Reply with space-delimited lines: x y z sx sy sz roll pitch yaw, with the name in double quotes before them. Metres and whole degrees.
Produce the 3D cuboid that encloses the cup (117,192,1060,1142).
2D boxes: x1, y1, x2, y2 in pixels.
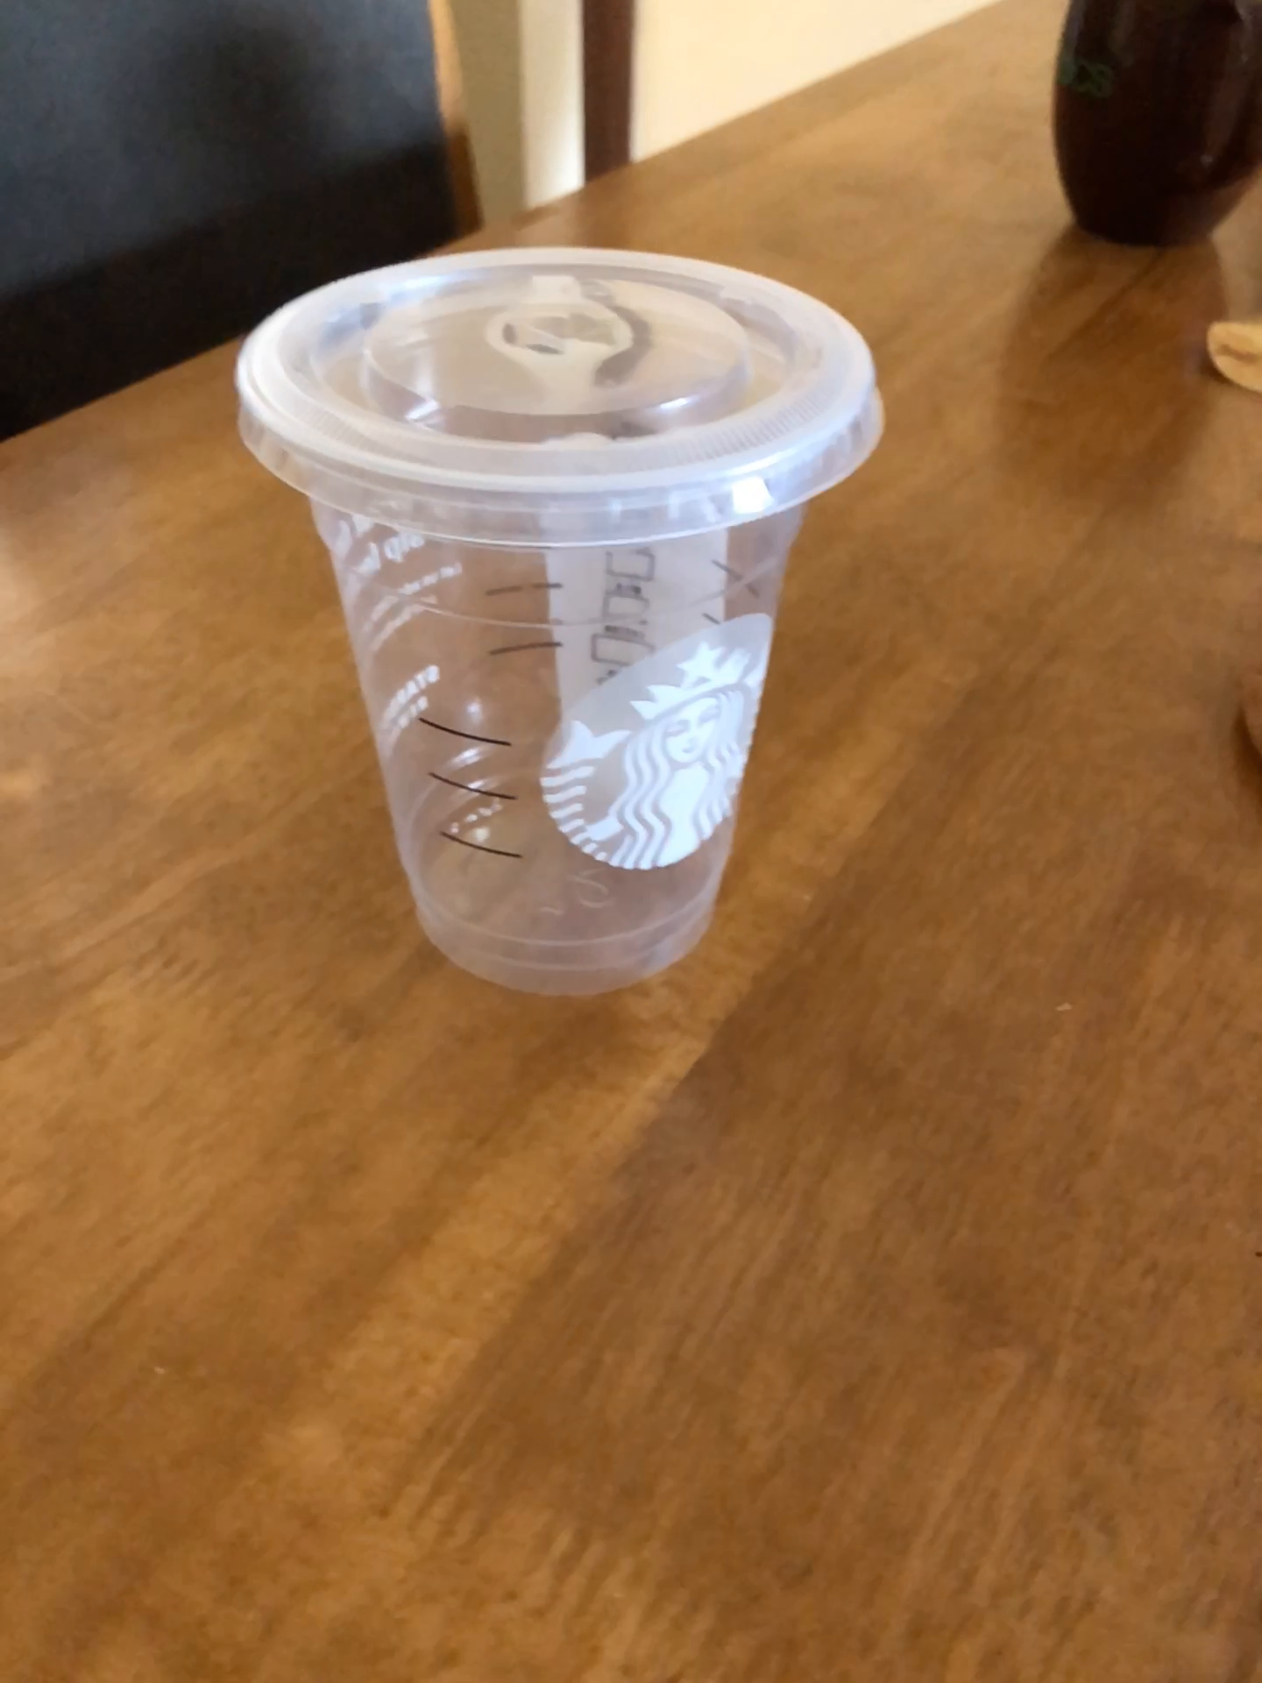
"cup" -0.008 -0.035 0.232 0.100 0.100 0.090 -24 45 -27
